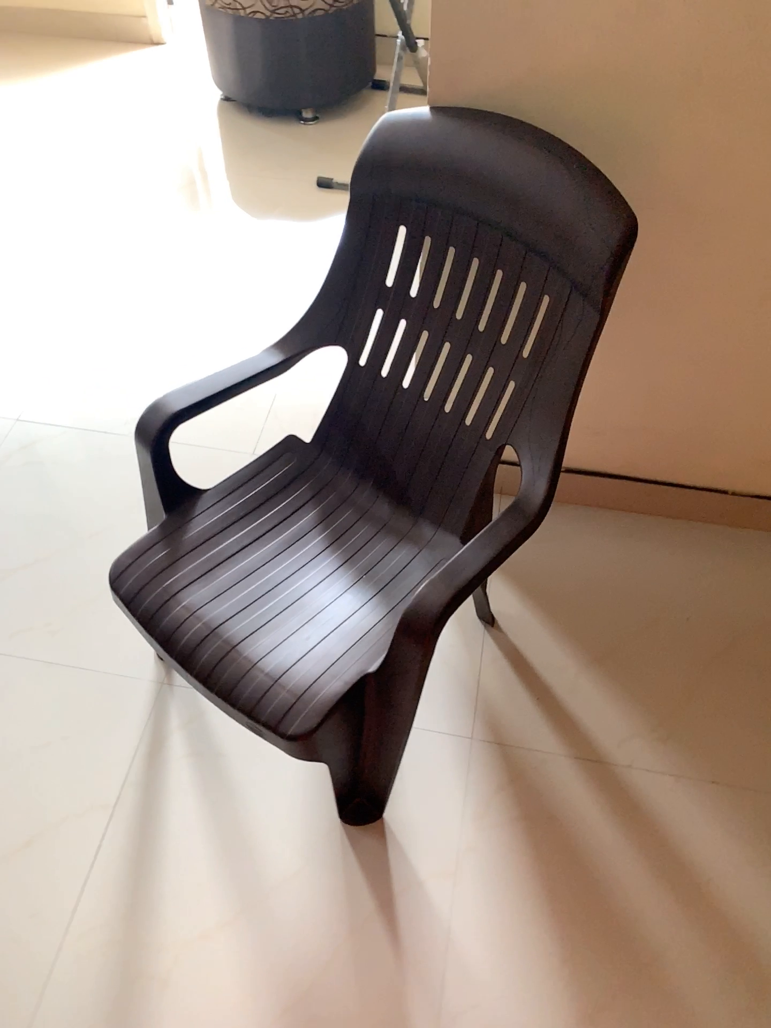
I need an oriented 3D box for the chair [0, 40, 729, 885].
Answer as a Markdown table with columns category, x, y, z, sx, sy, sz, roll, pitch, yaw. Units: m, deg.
| category | x | y | z | sx | sy | sz | roll | pitch | yaw |
| --- | --- | --- | --- | --- | --- | --- | --- | --- | --- |
| chair | -0.055 | -0.015 | 1.266 | 0.602 | 1.032 | 0.663 | 35 | 59 | 24 |
